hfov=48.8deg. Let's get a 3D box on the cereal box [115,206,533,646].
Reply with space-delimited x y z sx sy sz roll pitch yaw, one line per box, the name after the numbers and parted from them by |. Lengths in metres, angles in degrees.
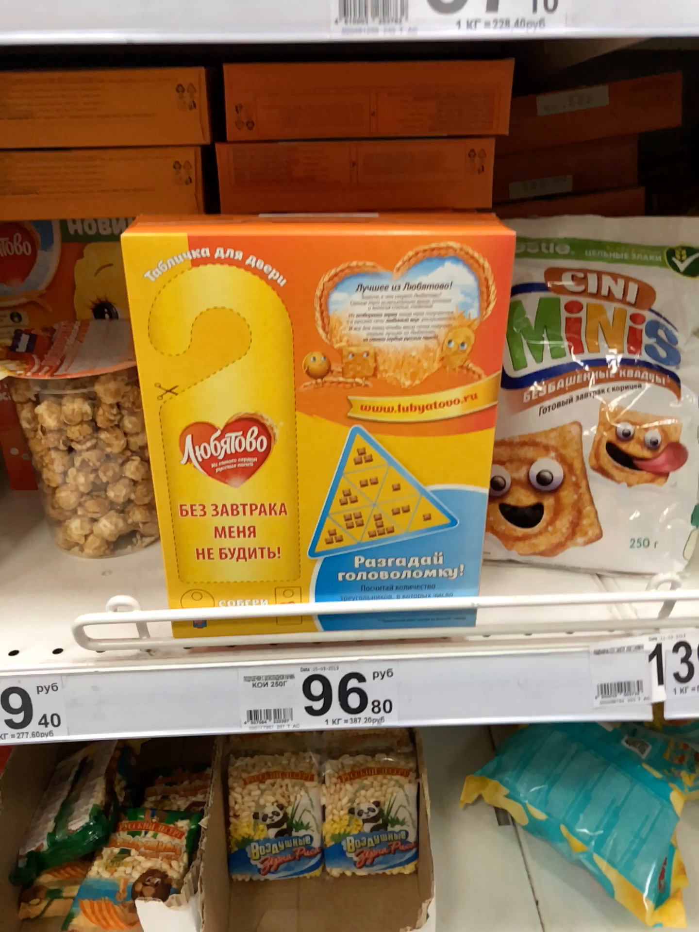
-0.011 -0.013 0.408 0.180 0.229 0.050 -1 28 -2 | cereal box
